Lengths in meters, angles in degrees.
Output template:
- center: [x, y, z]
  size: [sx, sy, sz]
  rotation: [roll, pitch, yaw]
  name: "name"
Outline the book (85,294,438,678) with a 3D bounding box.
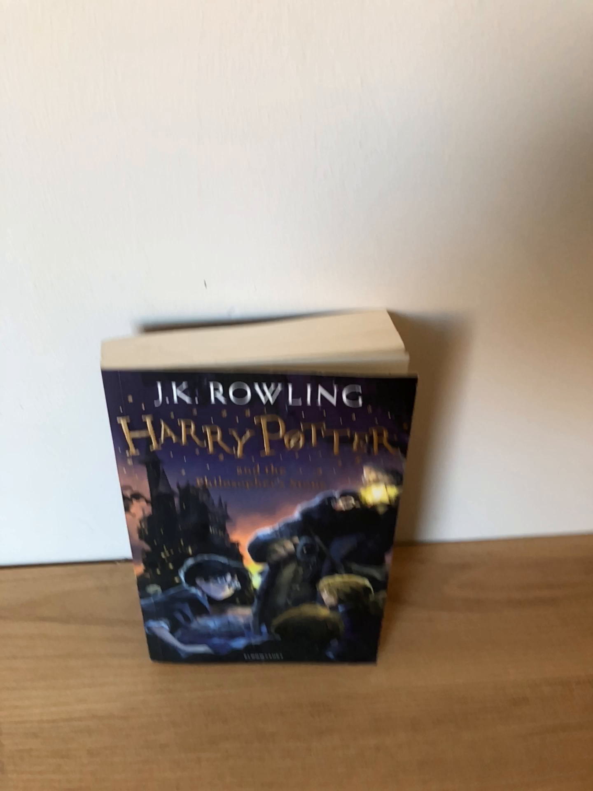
- center: [-0.018, 0.053, 0.334]
  size: [0.135, 0.192, 0.068]
  rotation: [1, 33, -3]
  name: "book"
